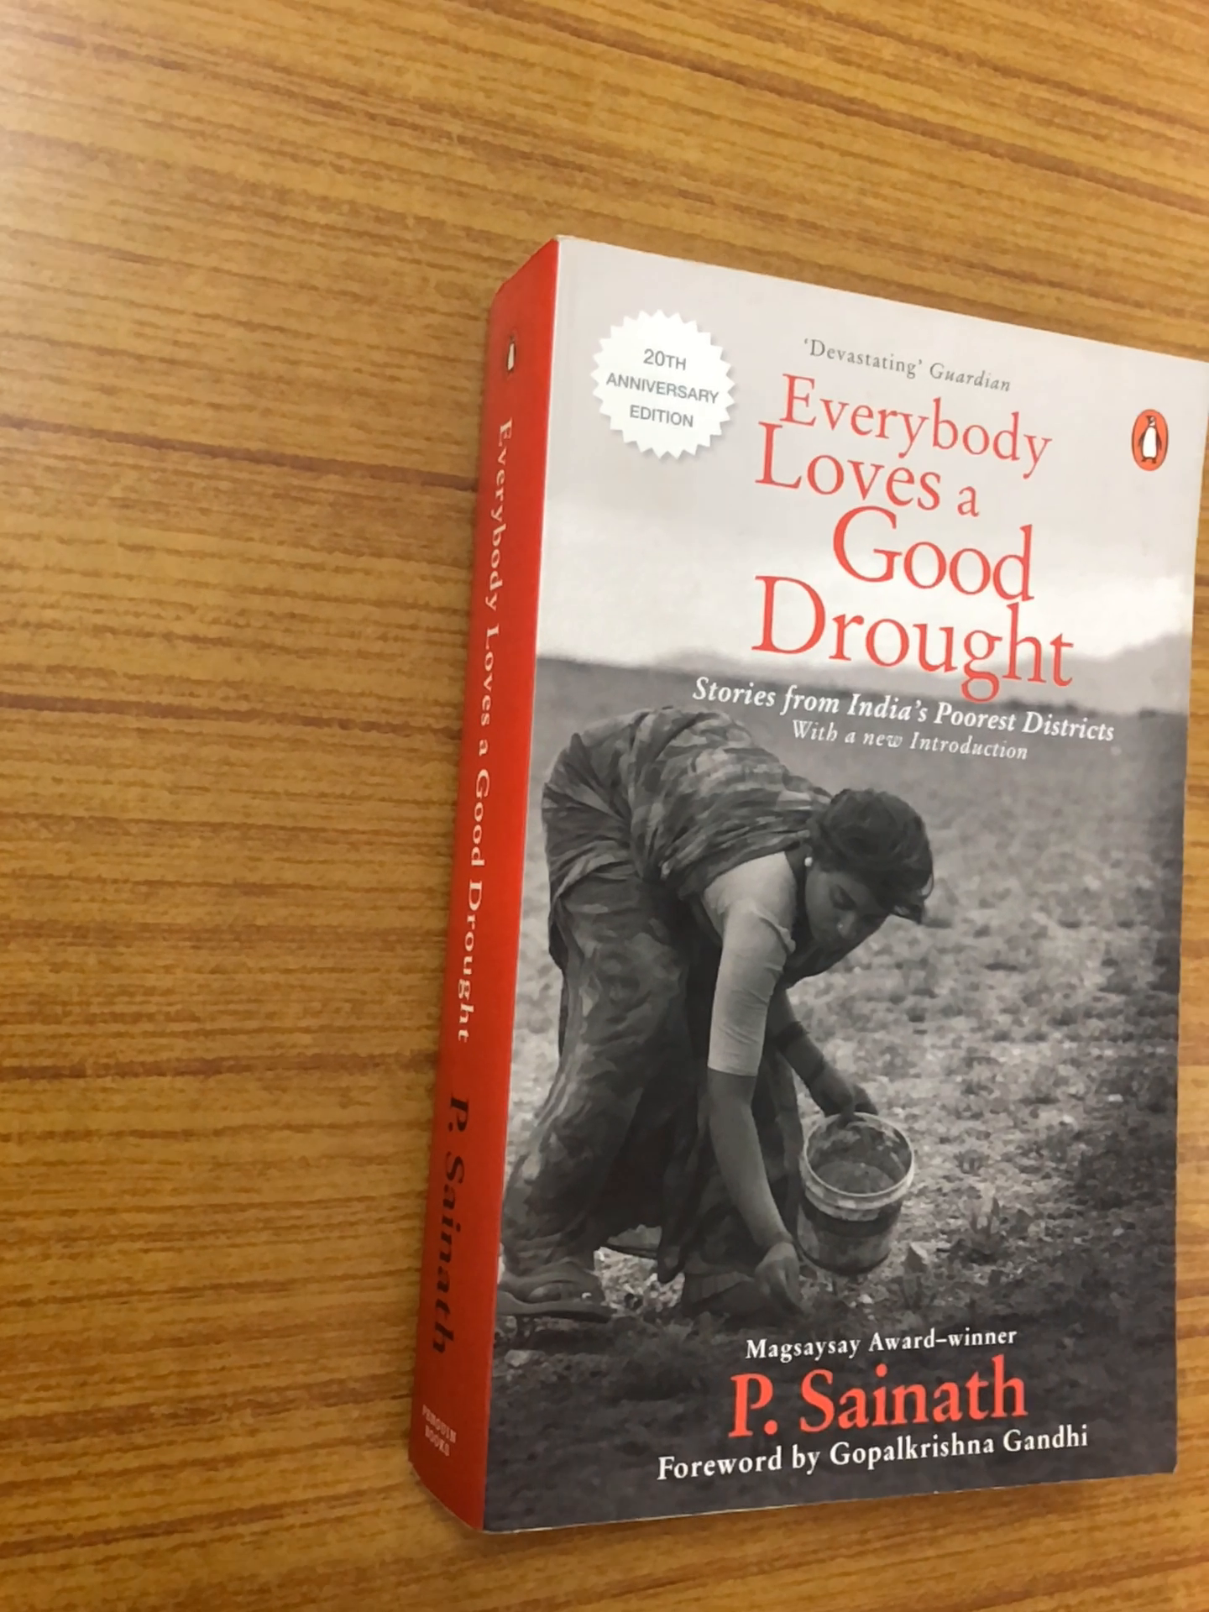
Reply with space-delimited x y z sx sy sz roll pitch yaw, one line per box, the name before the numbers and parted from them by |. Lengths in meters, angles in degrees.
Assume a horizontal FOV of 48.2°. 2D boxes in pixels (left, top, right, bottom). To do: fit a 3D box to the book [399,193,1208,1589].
book | 0.043 0.016 0.247 0.140 0.040 0.210 5 87 -21
